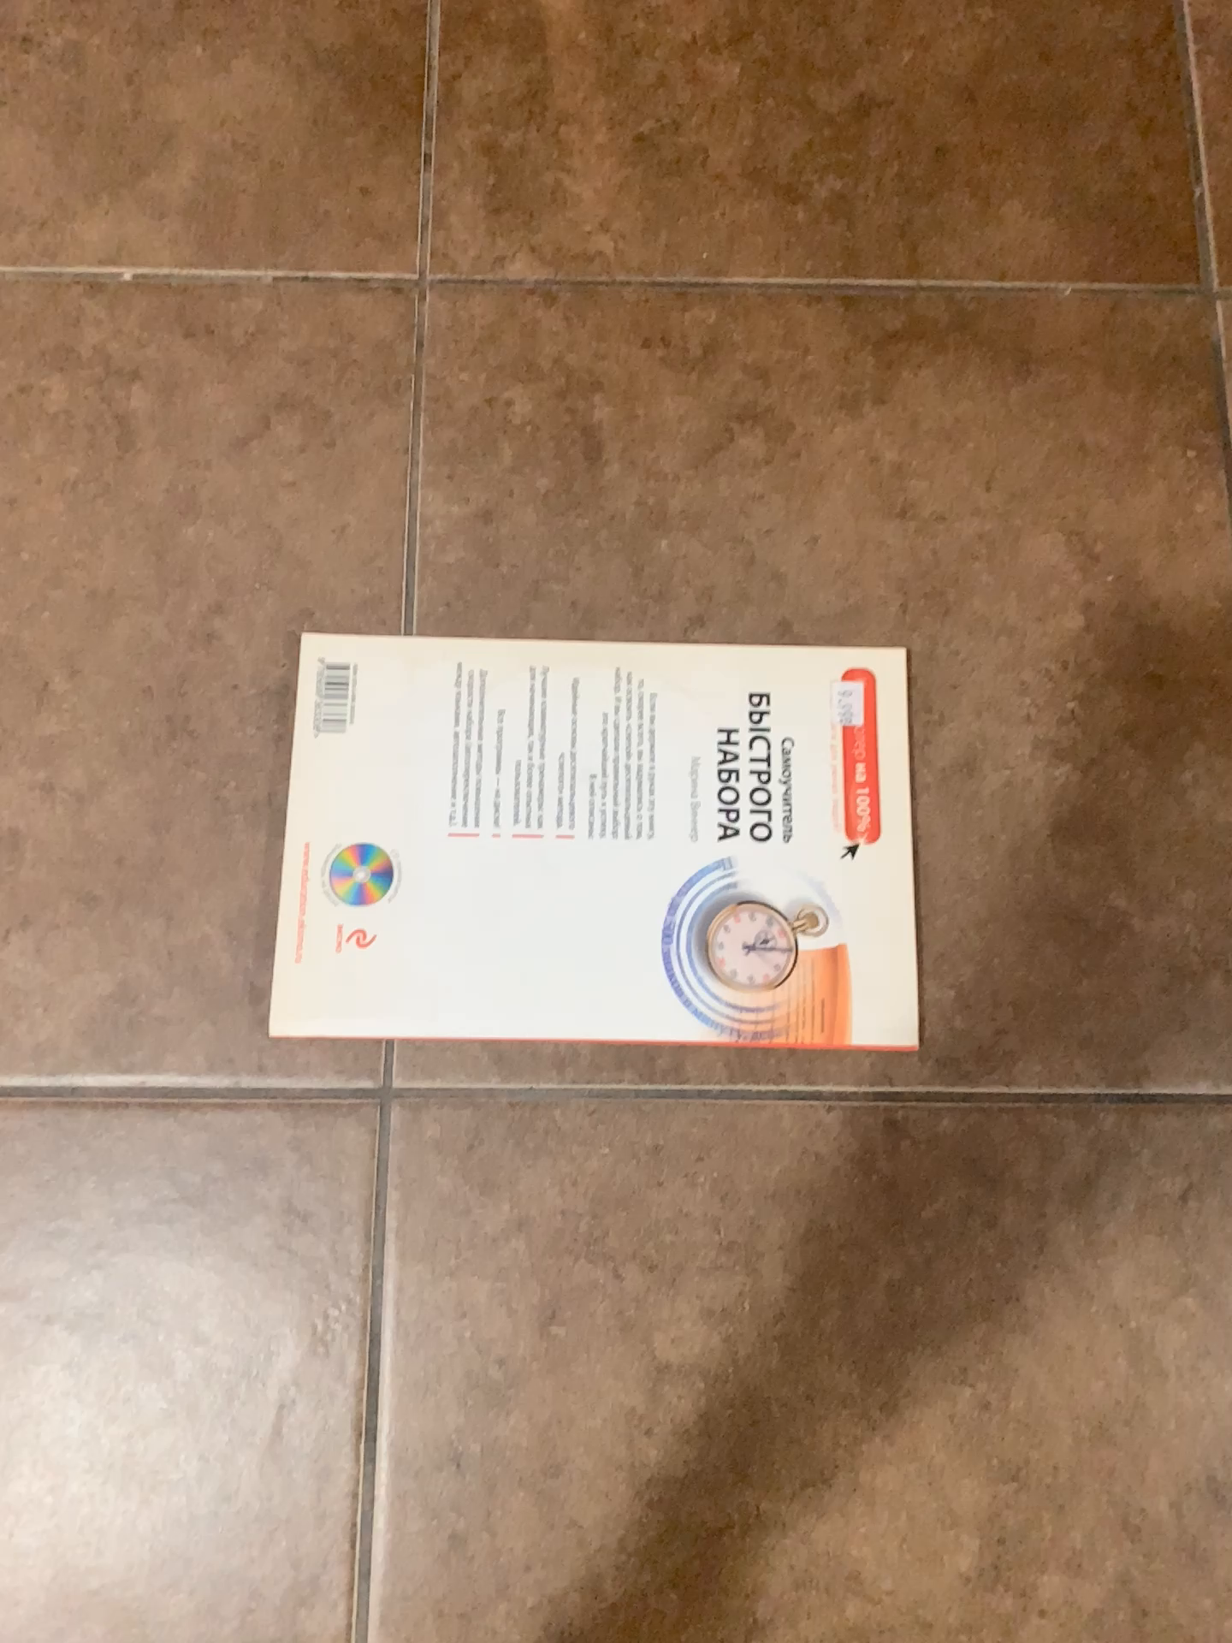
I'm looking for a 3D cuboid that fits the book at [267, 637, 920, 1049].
[{"bbox_3d":[-0.006,0.006,0.423,0.210,0.009,0.134,1,78,0],"label":"book"}]
